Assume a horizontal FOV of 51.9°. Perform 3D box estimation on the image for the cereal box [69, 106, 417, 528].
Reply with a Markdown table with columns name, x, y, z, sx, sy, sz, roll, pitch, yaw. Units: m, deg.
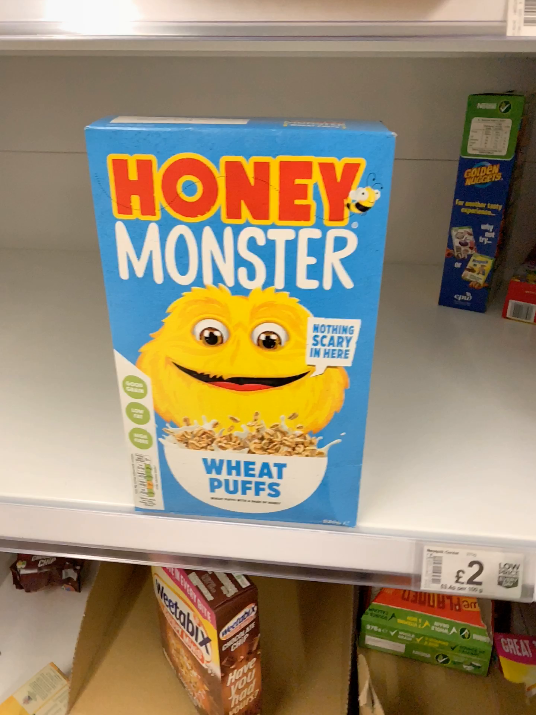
| name | x | y | z | sx | sy | sz | roll | pitch | yaw |
| --- | --- | --- | --- | --- | --- | --- | --- | --- | --- |
| cereal box | -0.013 | -0.024 | 0.419 | 0.200 | 0.297 | 0.091 | 3 | 27 | 6 |
